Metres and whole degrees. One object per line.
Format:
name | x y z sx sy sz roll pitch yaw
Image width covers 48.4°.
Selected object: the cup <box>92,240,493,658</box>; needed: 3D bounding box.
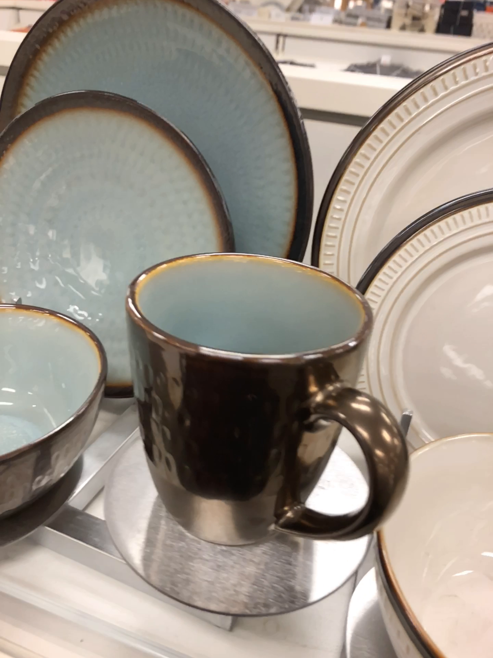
cup | 0.008 0.038 0.218 0.083 0.100 0.117 -21 39 -38
